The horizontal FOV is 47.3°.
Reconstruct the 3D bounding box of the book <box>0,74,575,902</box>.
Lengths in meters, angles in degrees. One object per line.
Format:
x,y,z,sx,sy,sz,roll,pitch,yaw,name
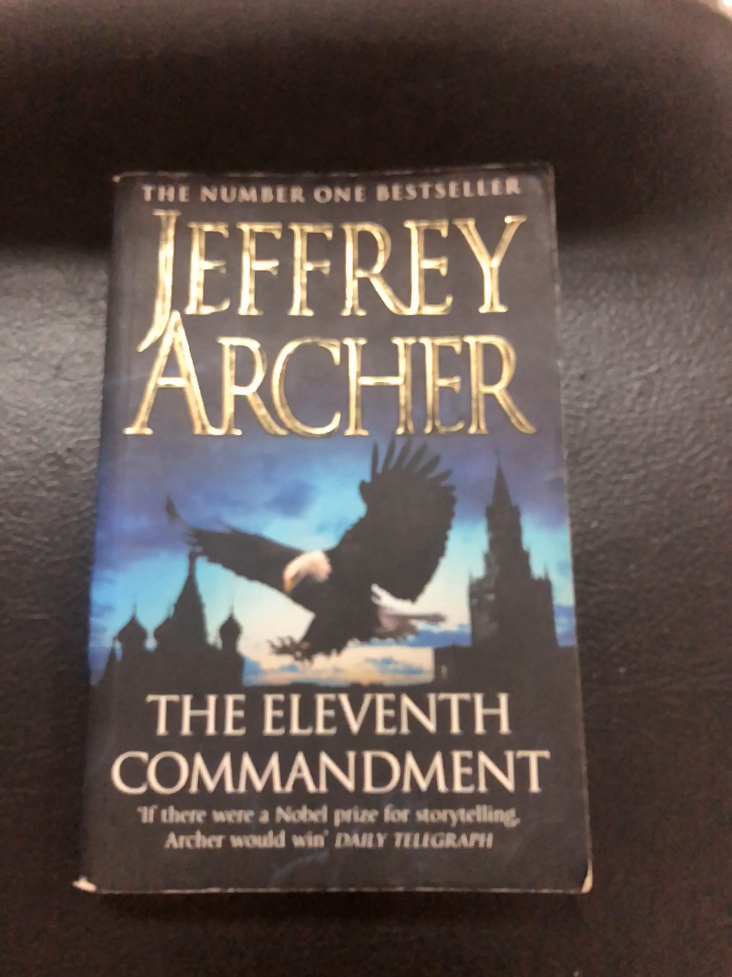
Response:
-0.019,-0.005,0.221,0.130,0.040,0.200,0,80,-3,book
